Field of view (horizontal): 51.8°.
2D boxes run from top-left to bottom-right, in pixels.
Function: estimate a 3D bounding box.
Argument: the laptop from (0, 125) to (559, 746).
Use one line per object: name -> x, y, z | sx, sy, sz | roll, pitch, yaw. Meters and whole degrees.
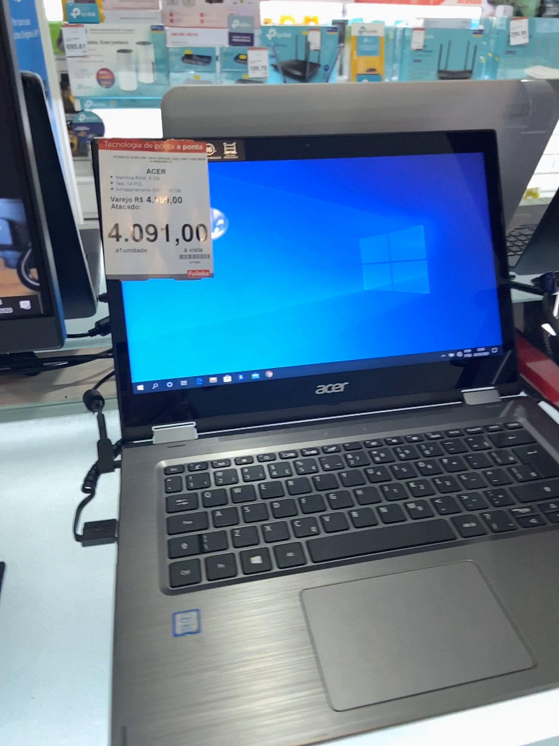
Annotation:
laptop -> 0.053, -0.022, 0.362 | 0.328, 0.187, 0.357 | -6, 32, -11
